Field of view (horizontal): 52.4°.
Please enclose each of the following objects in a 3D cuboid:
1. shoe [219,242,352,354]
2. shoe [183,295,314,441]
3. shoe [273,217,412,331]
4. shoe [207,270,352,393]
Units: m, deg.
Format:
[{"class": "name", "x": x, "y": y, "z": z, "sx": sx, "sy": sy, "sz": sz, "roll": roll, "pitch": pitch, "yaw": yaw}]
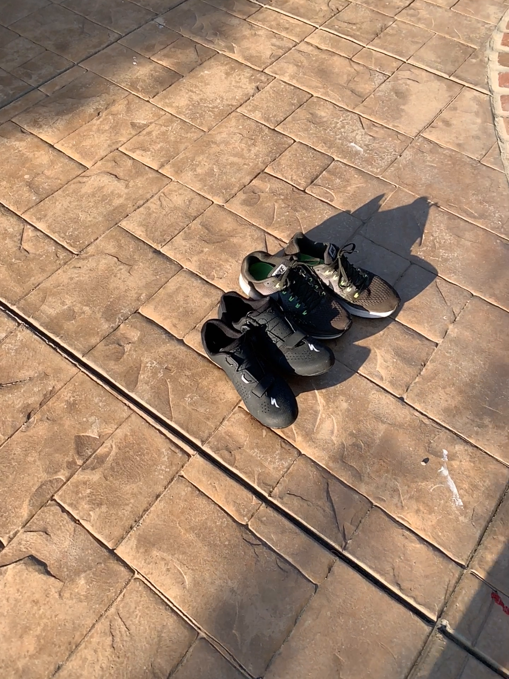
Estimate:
[{"class": "shoe", "x": 0.064, "y": -0.095, "z": 1.125, "sx": 0.261, "sy": 0.070, "sz": 0.120, "roll": 32, "pitch": 63, "yaw": 20}, {"class": "shoe", "x": -0.017, "y": 0.048, "z": 0.979, "sx": 0.100, "sy": 0.070, "sz": 0.271, "roll": -32, "pitch": 62, "yaw": -18}, {"class": "shoe", "x": 0.184, "y": -0.147, "z": 1.135, "sx": 0.271, "sy": 0.080, "sz": 0.120, "roll": 32, "pitch": 63, "yaw": 20}, {"class": "shoe", "x": 0.044, "y": -0.020, "z": 0.991, "sx": 0.261, "sy": 0.070, "sz": 0.100, "roll": 33, "pitch": 63, "yaw": 20}]
